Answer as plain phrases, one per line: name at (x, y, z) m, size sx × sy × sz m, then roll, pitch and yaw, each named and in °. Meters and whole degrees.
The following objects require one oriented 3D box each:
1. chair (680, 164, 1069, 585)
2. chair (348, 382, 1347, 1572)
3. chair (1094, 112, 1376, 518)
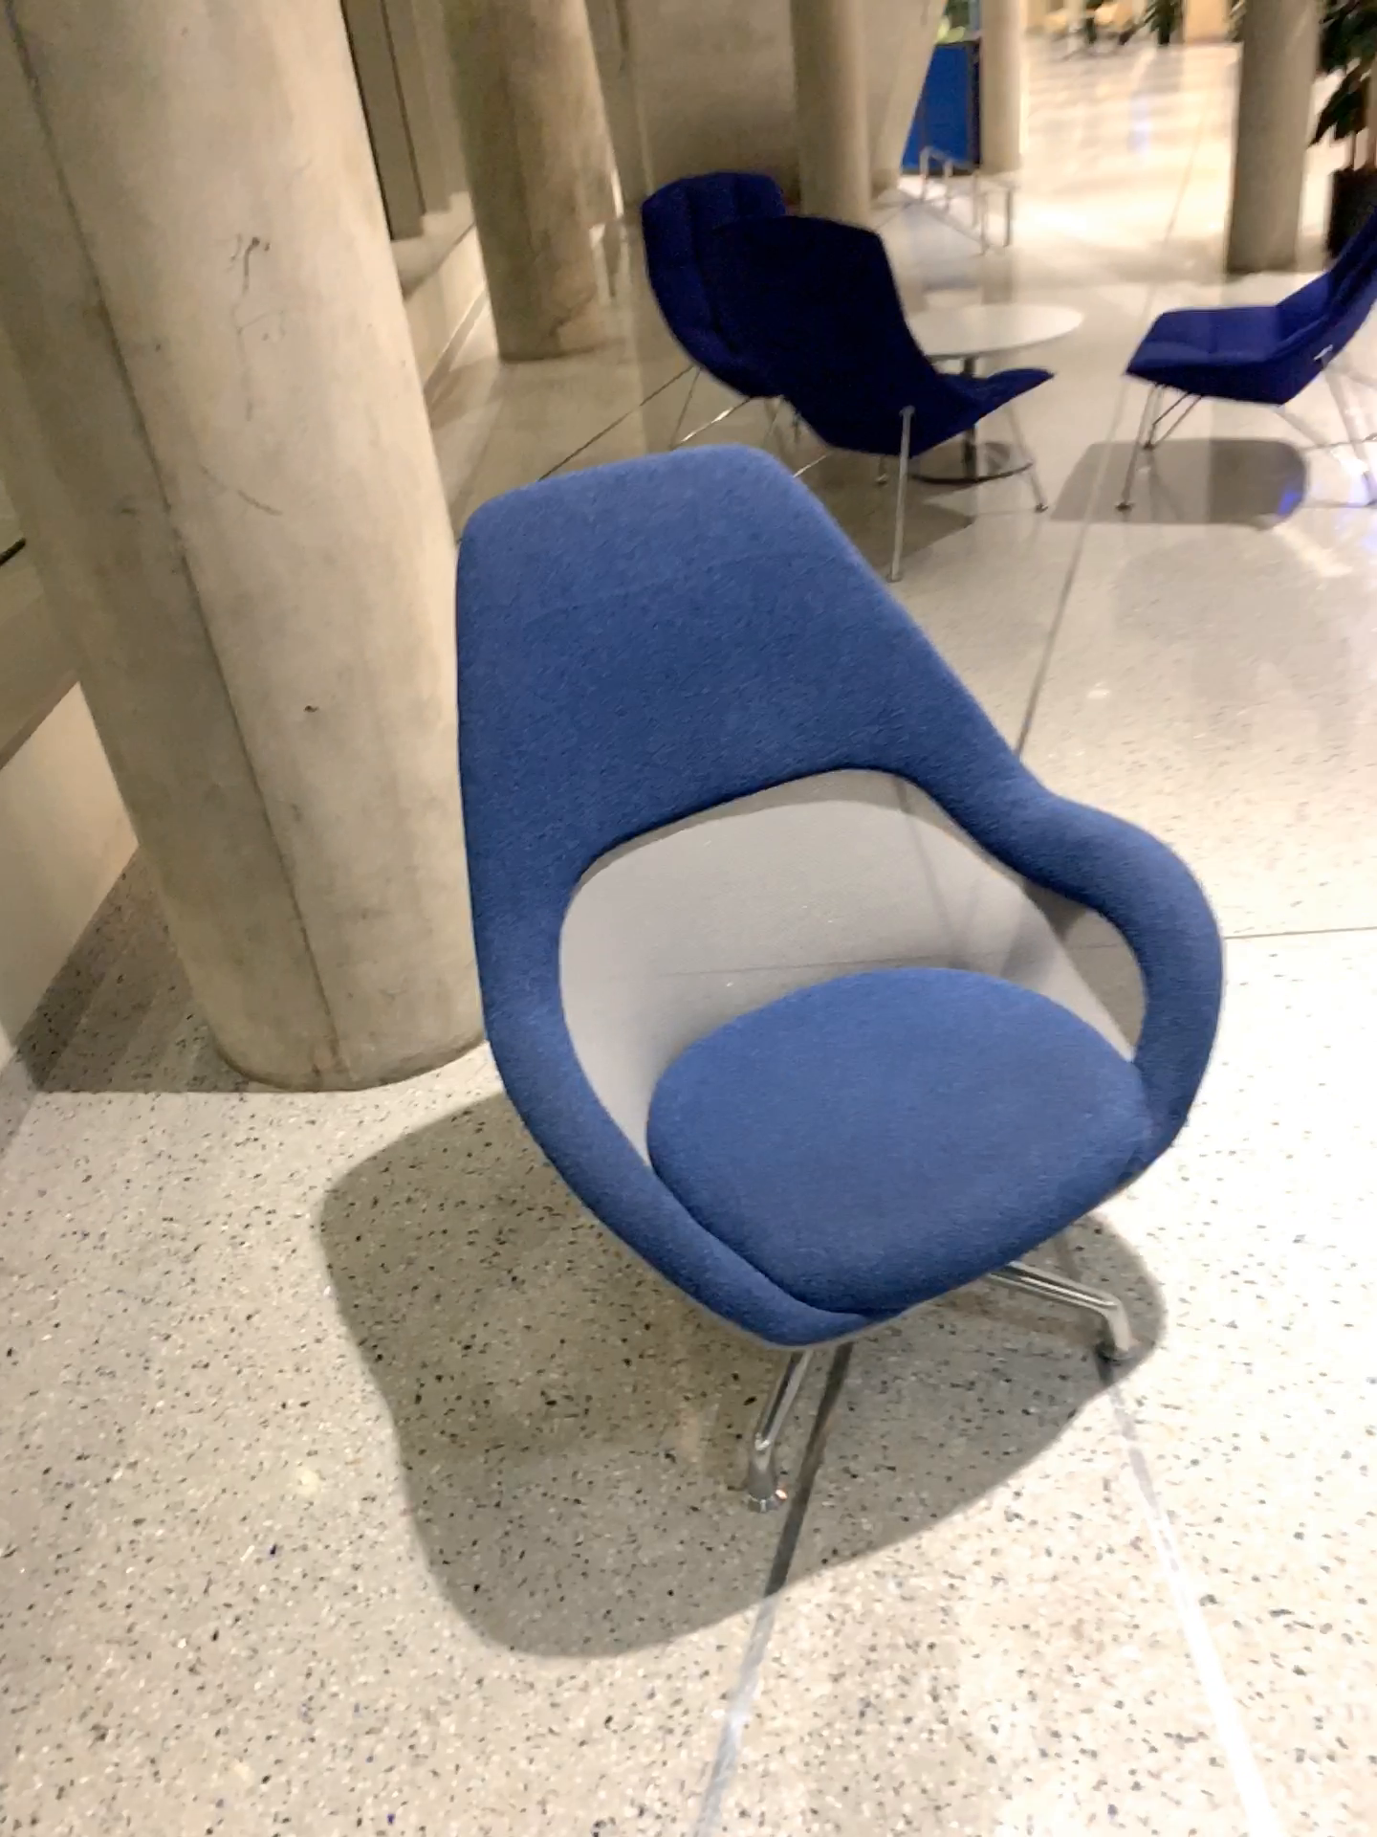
chair at (0.508, -1.469, 3.731) m, size 0.696 × 0.853 × 0.682 m, roll -29°, pitch 37°, yaw -30°
chair at (0.145, 0.022, 1.556) m, size 0.716 × 0.961 × 0.639 m, roll -17°, pitch 33°, yaw -15°
chair at (1.518, -1.600, 3.733) m, size 0.725 × 0.834 × 0.743 m, roll 6°, pitch 34°, yaw 21°
